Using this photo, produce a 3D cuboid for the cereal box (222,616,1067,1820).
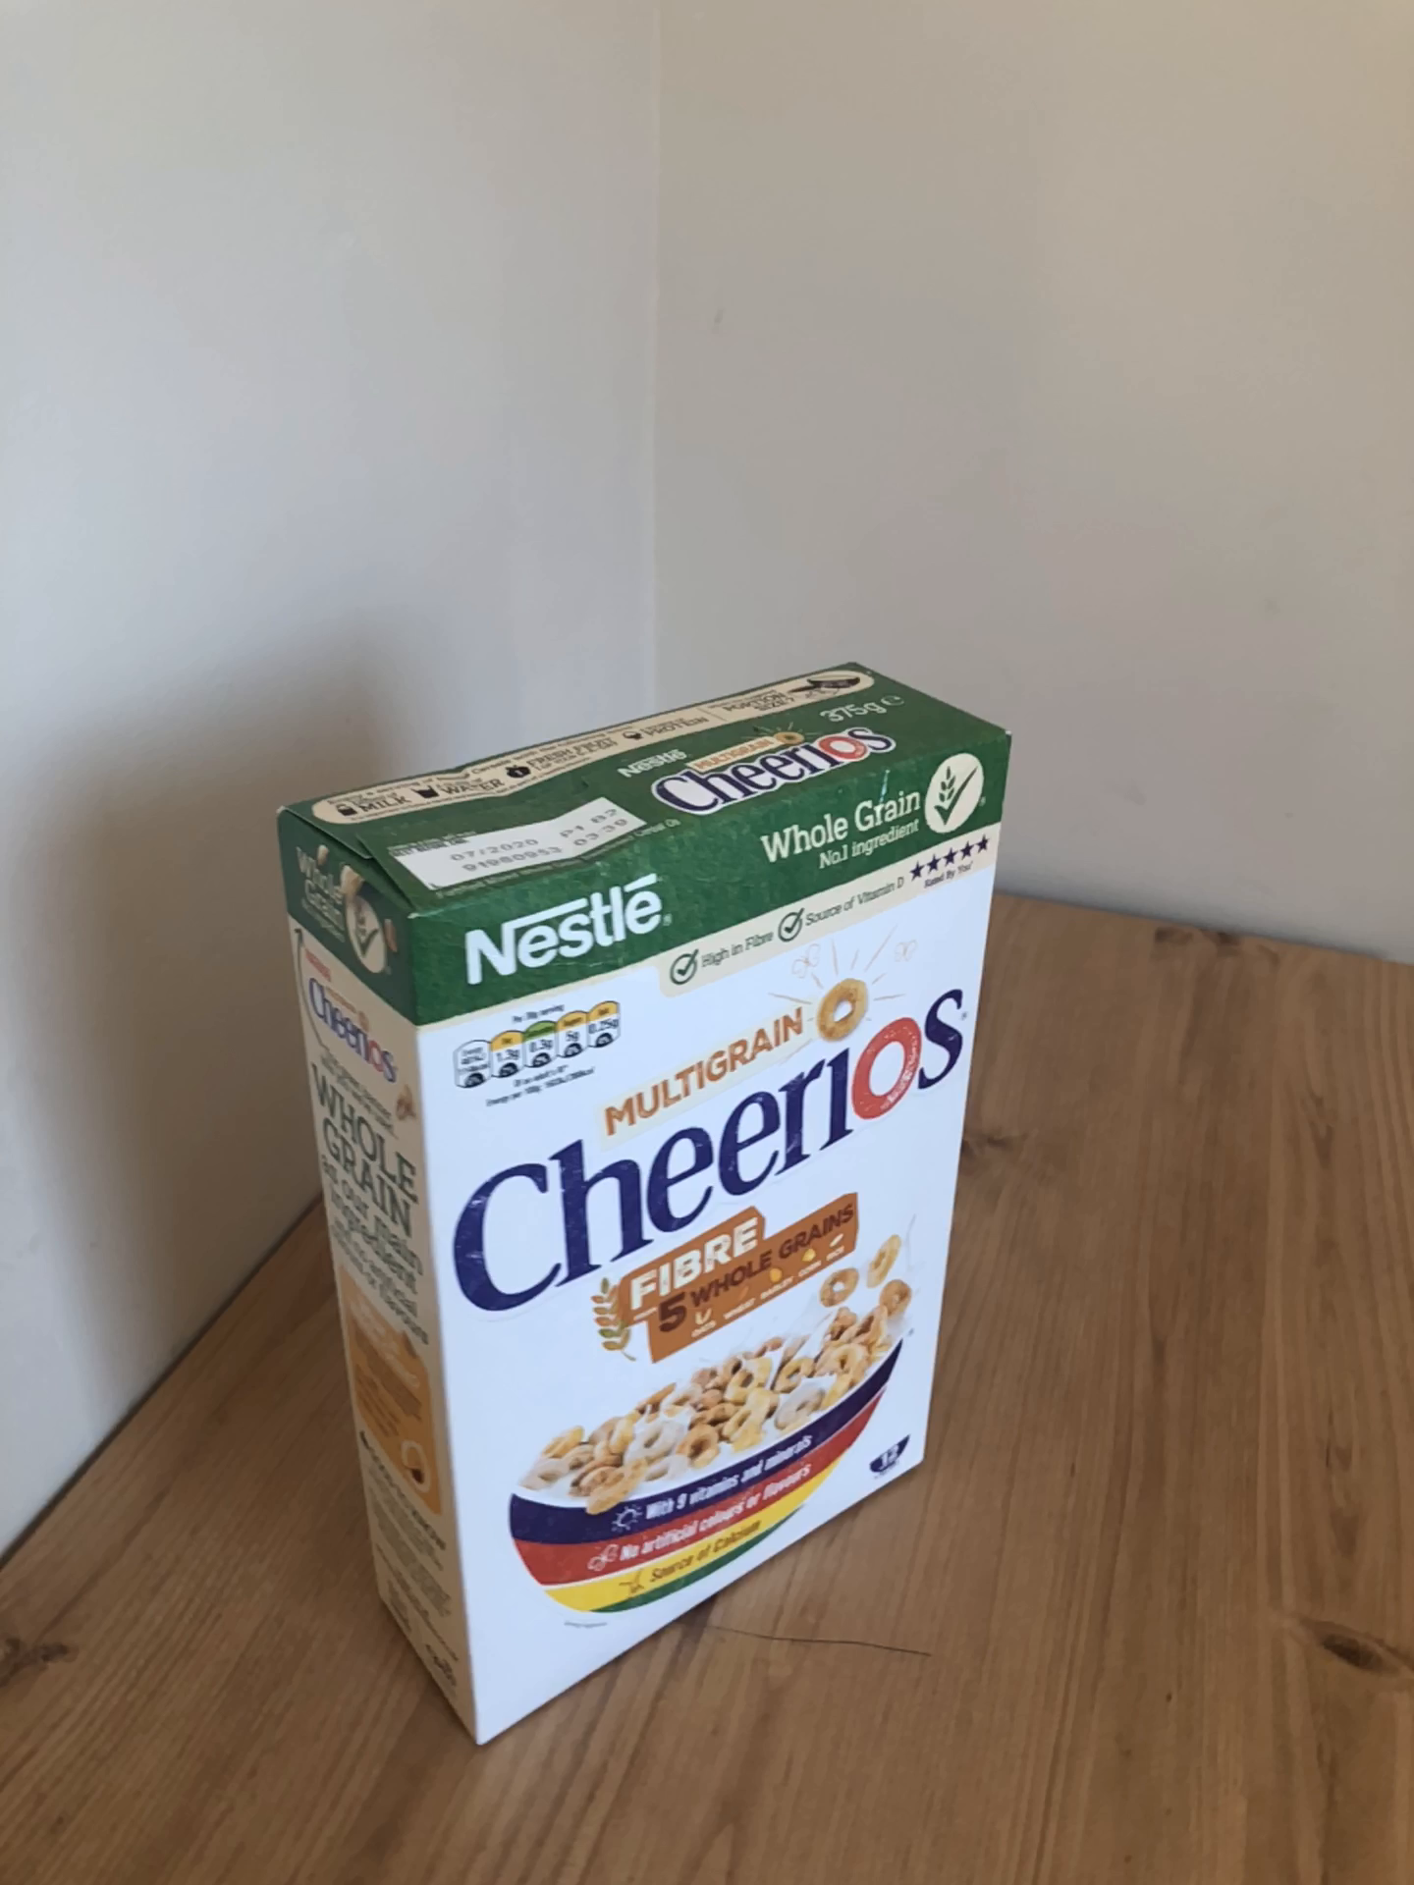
[{"bbox_3d":[-0.011,0.080,0.478,0.211,0.308,0.080,-20,36,-33],"label":"cereal box"}]
